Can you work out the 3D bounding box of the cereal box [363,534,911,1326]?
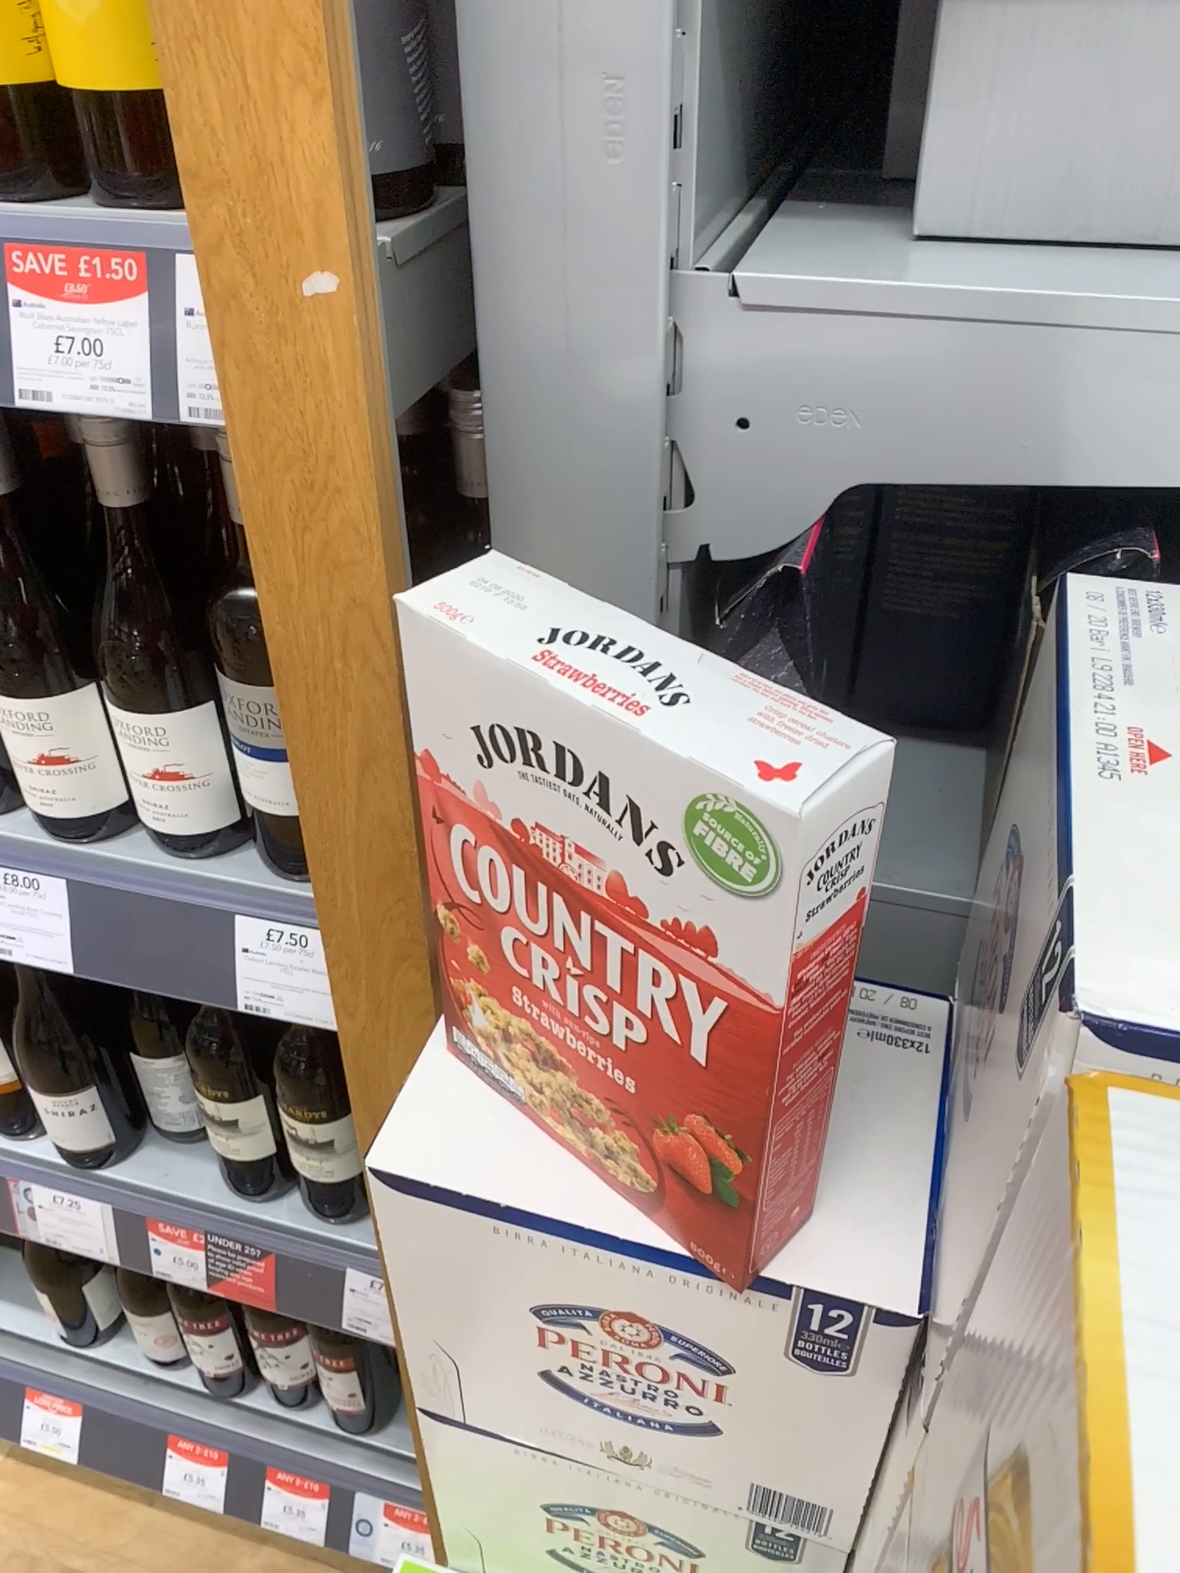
[{"bbox_3d":[0.007,0.056,0.457,0.050,0.247,0.191,-31,47,-34],"label":"cereal box"}]
